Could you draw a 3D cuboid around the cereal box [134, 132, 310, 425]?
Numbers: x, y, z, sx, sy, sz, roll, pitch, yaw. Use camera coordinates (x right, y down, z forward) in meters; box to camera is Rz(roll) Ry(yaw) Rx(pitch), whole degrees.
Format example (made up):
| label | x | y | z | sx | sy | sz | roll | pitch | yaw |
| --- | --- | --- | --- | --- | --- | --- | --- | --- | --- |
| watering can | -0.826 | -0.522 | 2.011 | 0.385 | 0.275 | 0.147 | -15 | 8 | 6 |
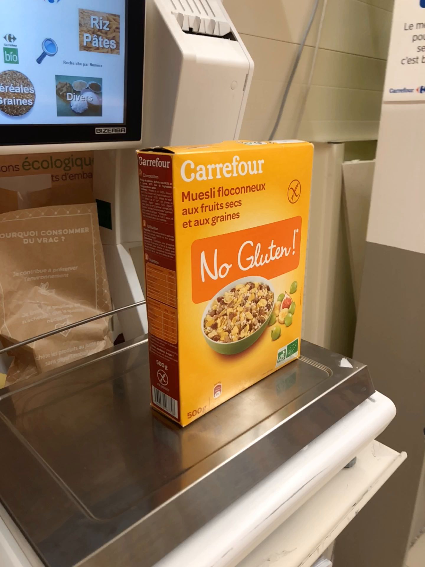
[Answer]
| label | x | y | z | sx | sy | sz | roll | pitch | yaw |
| --- | --- | --- | --- | --- | --- | --- | --- | --- | --- |
| cereal box | 0.017 | -0.017 | 0.480 | 0.050 | 0.259 | 0.191 | 18 | 25 | 41 |
